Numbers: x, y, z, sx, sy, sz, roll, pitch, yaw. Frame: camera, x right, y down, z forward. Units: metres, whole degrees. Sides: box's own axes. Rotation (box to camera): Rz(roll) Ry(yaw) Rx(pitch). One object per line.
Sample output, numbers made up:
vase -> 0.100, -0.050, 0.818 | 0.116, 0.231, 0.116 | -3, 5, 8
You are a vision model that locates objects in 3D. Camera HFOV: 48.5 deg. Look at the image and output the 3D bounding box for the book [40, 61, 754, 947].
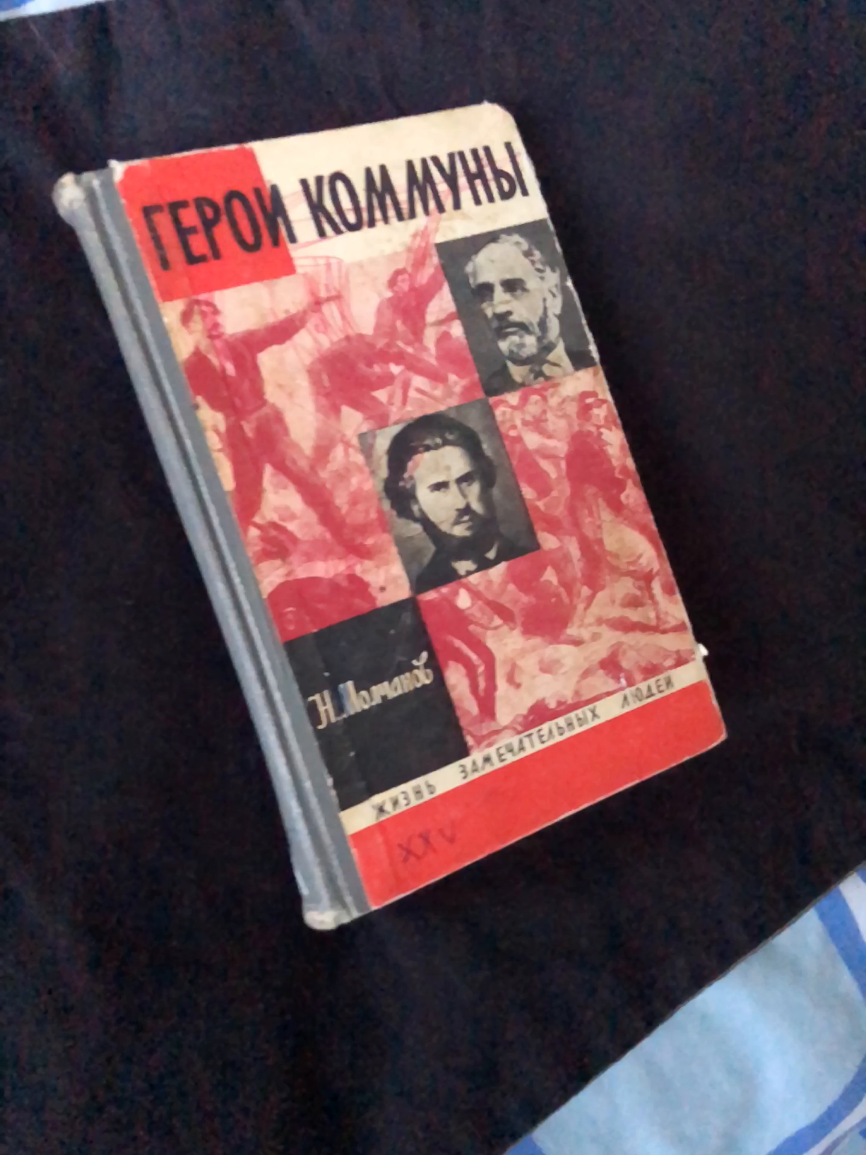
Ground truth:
book -> -0.010, -0.025, 0.275 | 0.128, 0.060, 0.200 | -21, 91, -20
